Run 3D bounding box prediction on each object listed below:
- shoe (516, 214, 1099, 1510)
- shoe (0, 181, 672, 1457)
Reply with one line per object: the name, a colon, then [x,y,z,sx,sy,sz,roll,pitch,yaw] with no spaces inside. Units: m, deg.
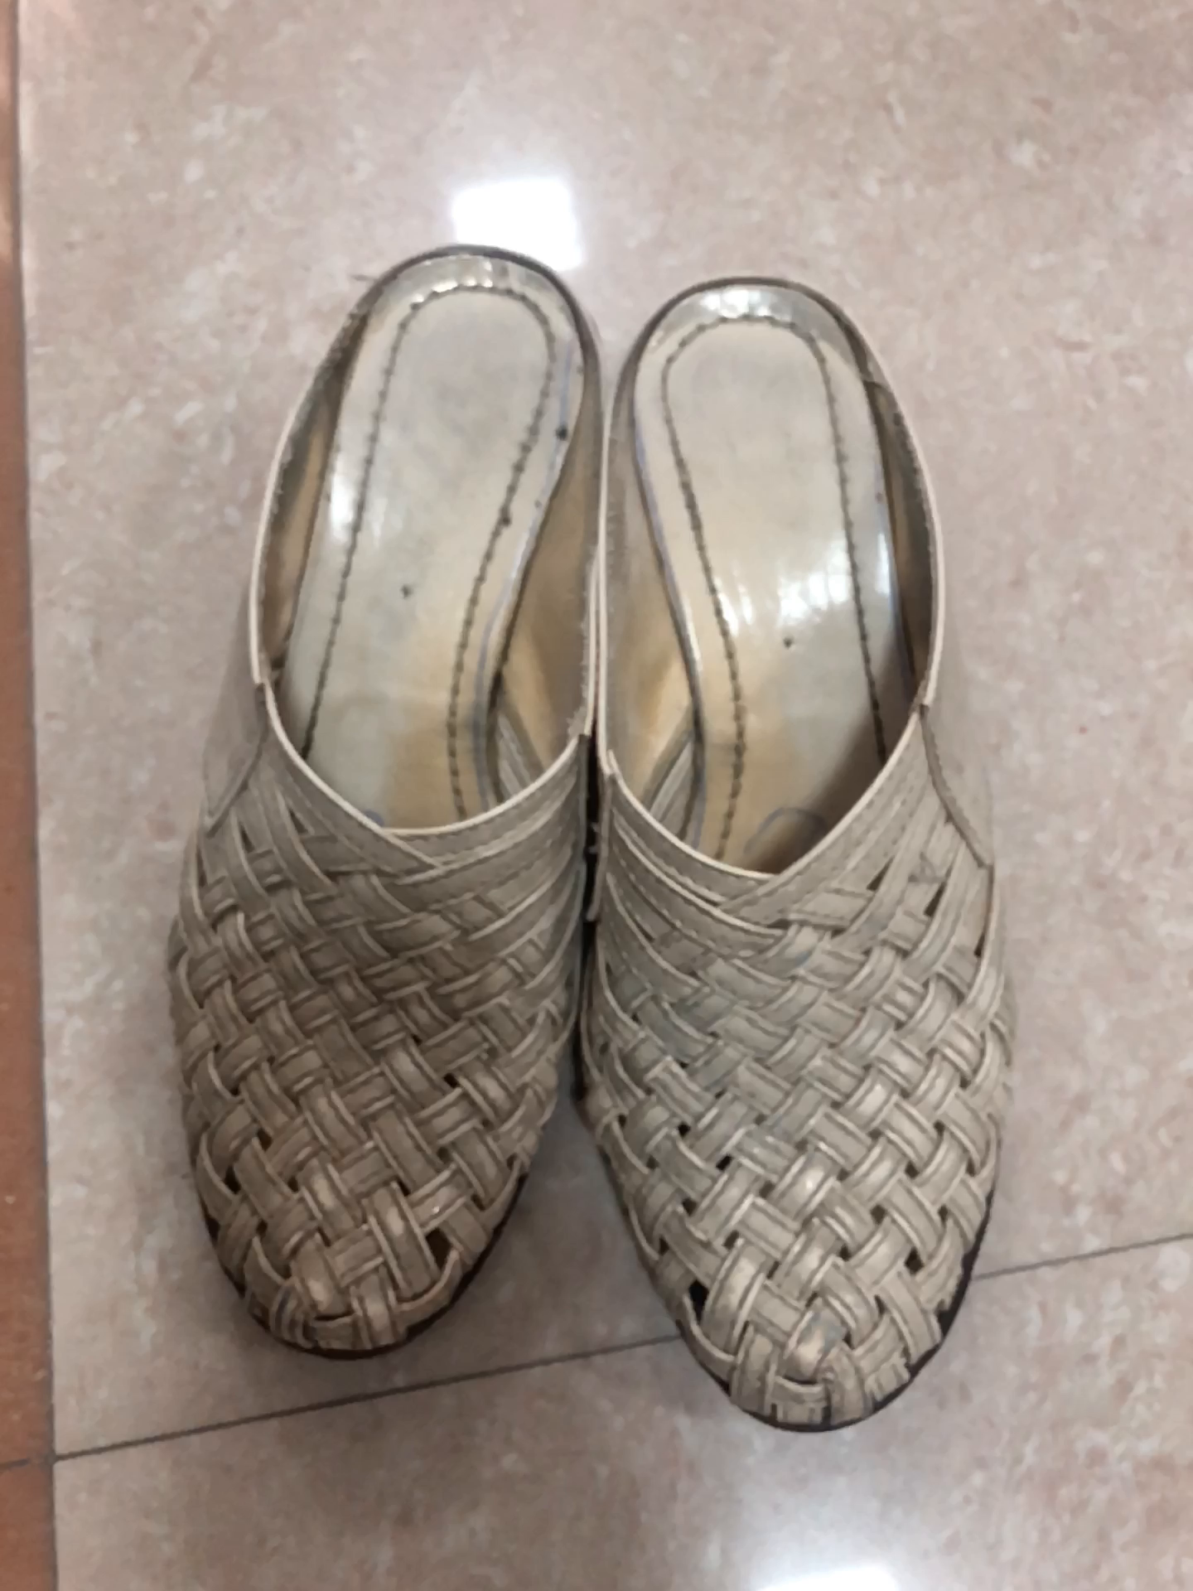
shoe: [0.035,0.008,0.283,0.090,0.080,0.240,-3,72,6]
shoe: [-0.043,-0.003,0.288,0.090,0.080,0.240,6,73,6]
